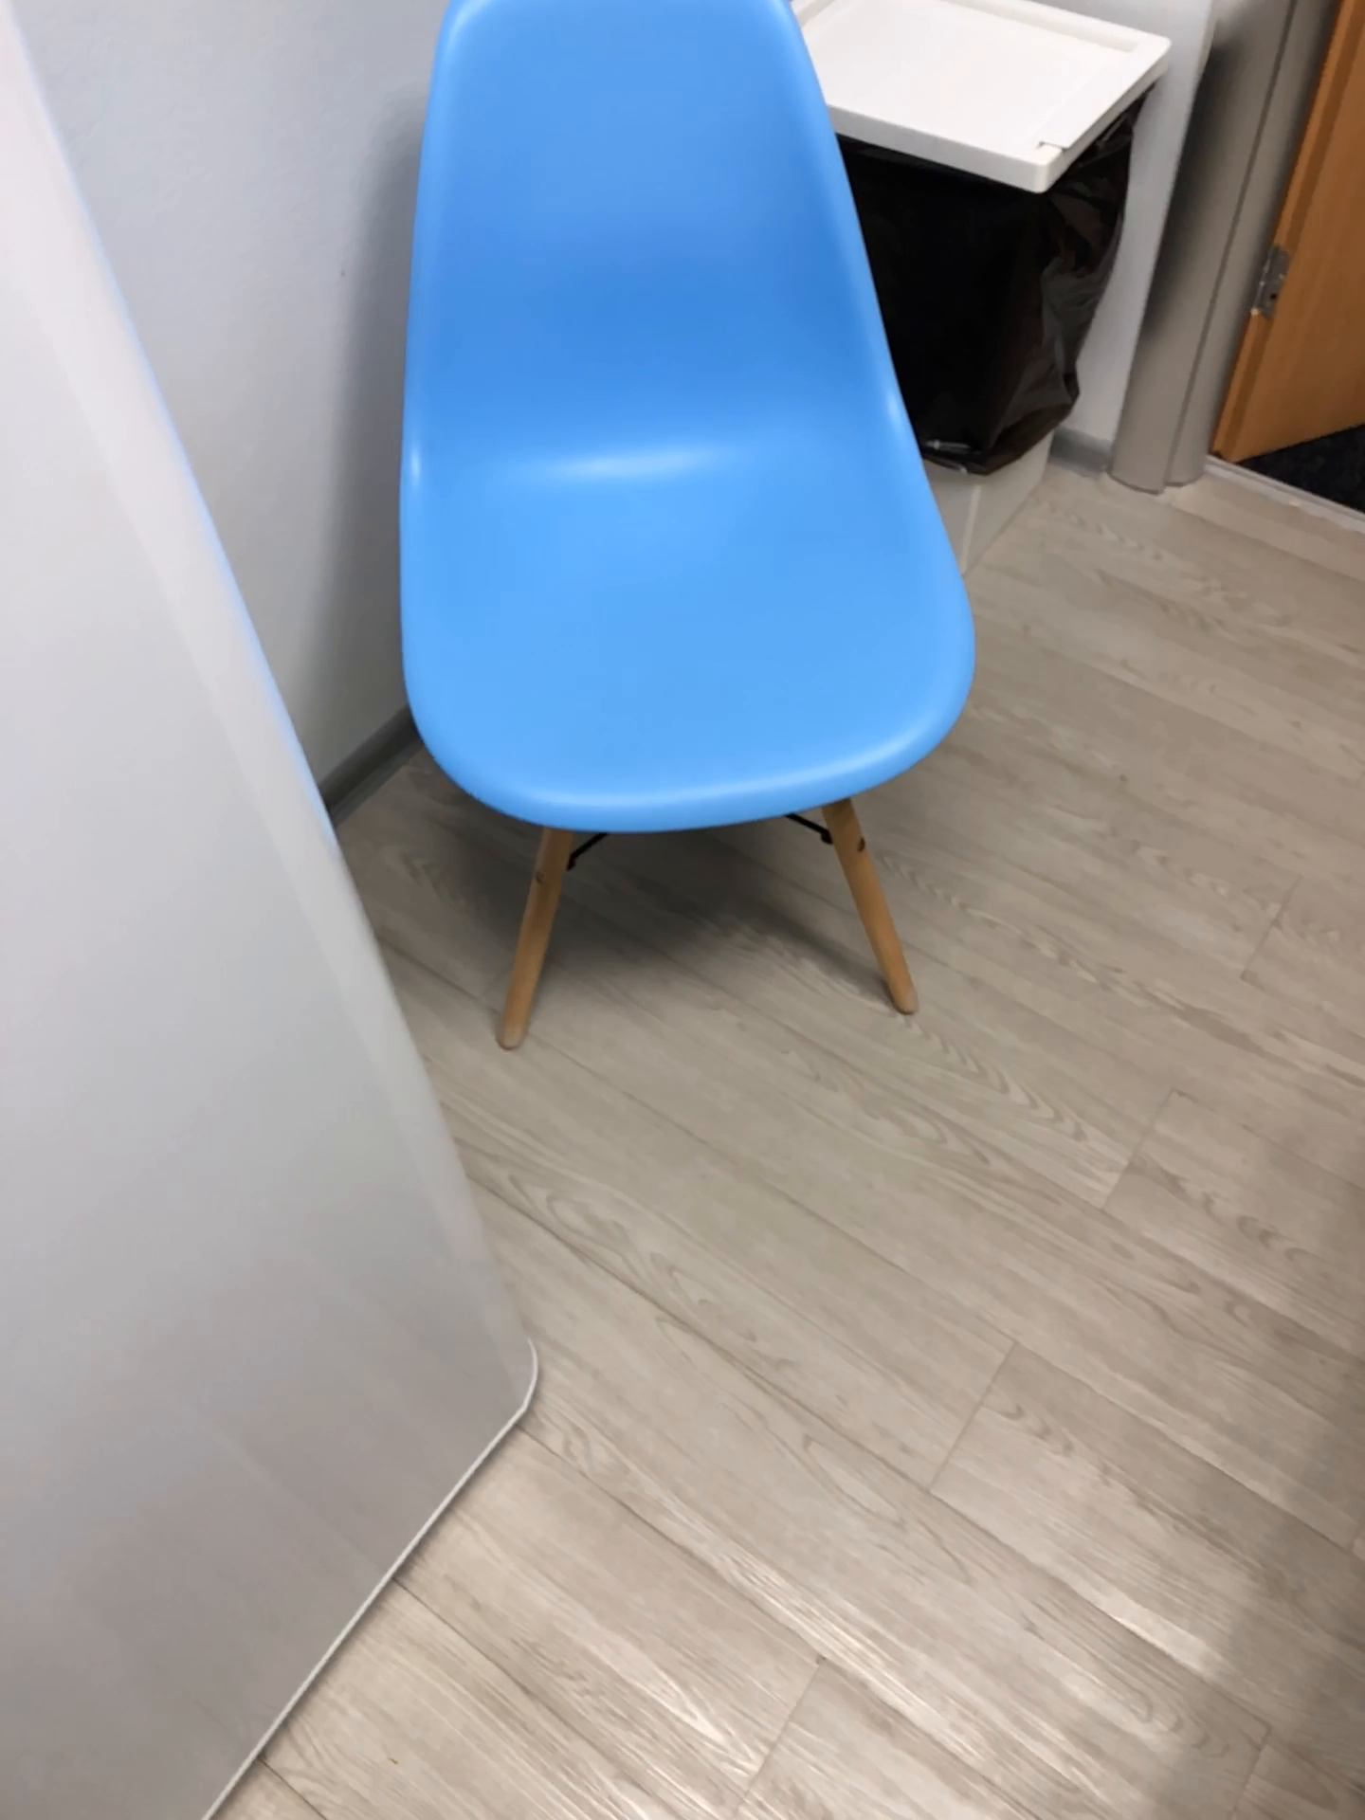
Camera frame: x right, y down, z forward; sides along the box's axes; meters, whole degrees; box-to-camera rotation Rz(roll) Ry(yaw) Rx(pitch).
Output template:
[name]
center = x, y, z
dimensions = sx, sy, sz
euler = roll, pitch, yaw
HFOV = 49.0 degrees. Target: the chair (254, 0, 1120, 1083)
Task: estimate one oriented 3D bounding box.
[chair]
center = 0.004, -0.291, 1.265
dimensions = 0.460, 0.775, 0.533
euler = -4, 55, 0
